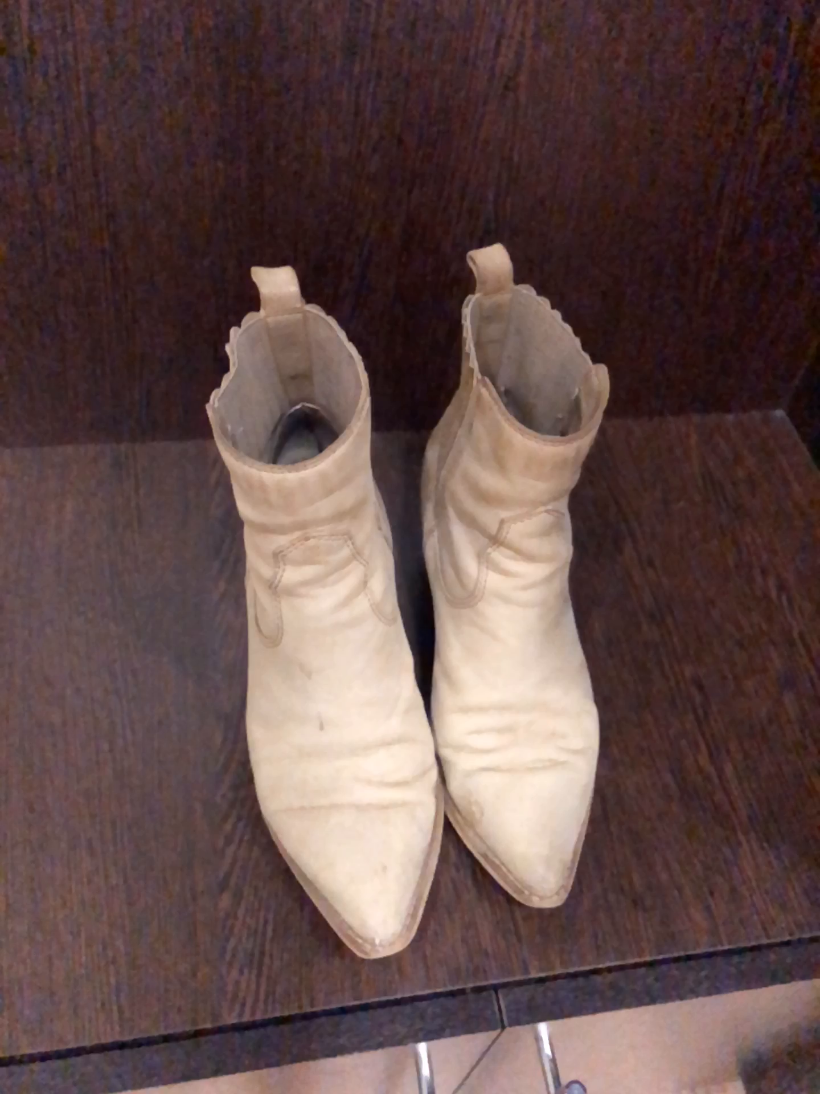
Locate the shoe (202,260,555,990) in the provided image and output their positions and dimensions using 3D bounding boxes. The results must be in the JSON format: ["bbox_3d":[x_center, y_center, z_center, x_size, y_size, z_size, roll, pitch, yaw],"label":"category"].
[{"bbox_3d":[-0.031,0.025,0.410,0.100,0.169,0.271,-5,52,-8],"label":"shoe"}]

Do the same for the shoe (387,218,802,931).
[{"bbox_3d":[0.052,0.004,0.422,0.100,0.169,0.281,0,51,-6],"label":"shoe"}]
